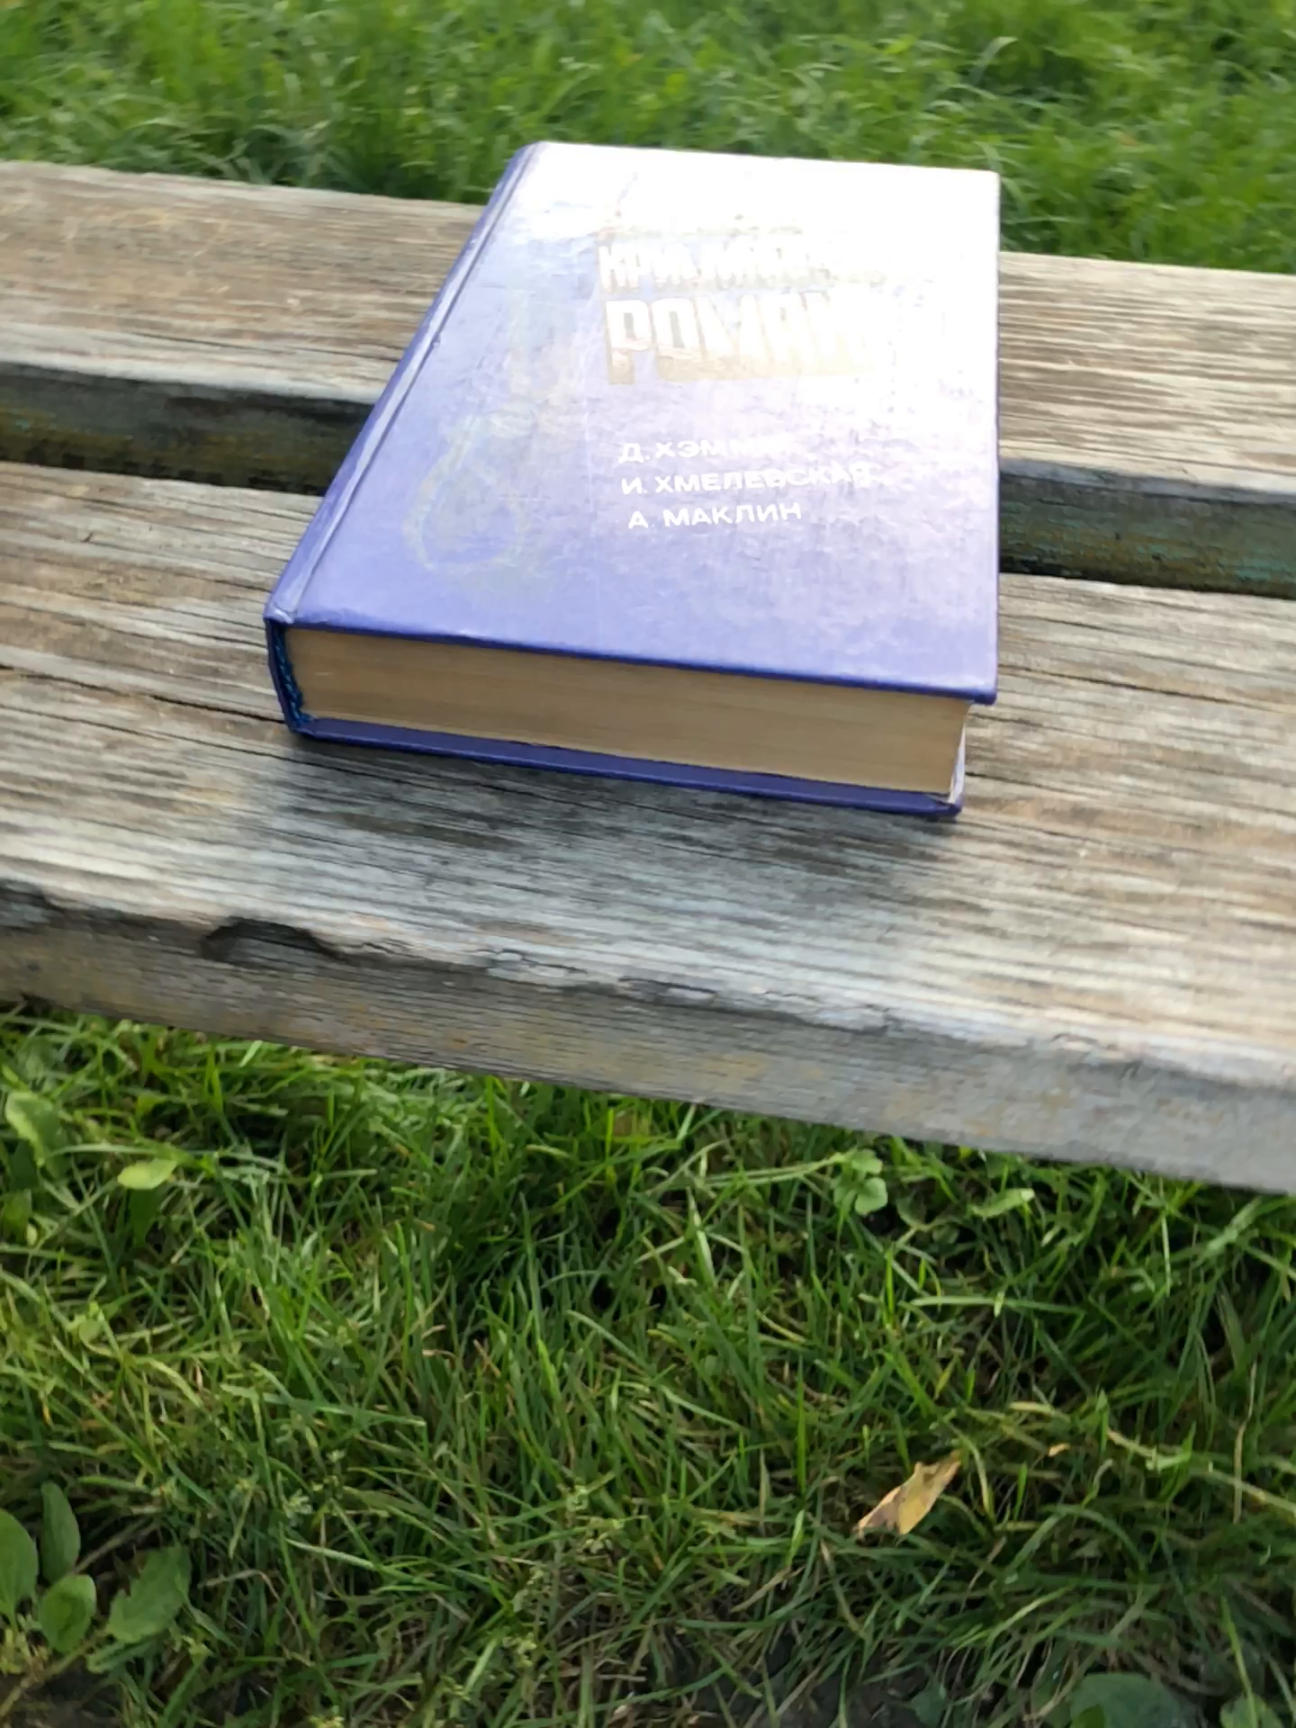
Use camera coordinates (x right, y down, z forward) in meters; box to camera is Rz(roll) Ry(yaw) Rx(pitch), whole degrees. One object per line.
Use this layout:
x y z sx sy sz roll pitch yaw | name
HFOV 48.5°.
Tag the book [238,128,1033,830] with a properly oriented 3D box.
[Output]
0.012 -0.099 0.312 0.130 0.030 0.205 7 48 6 | book
